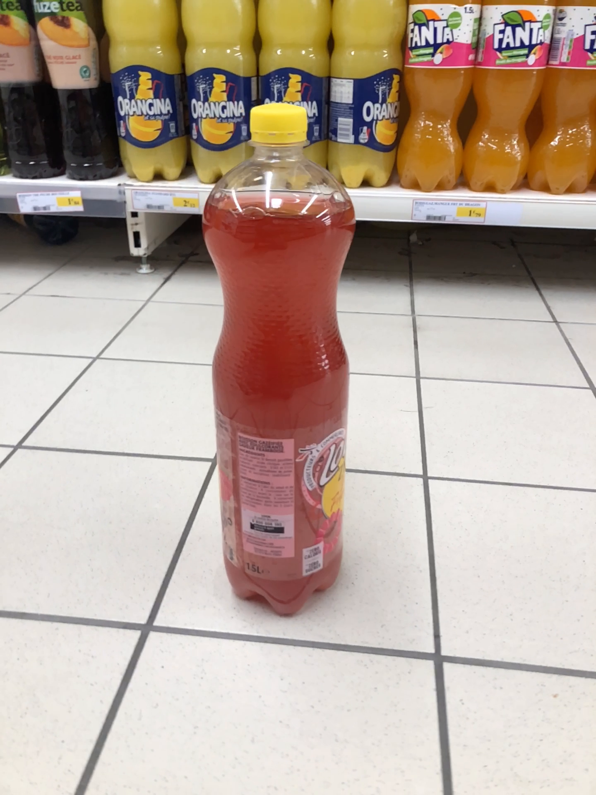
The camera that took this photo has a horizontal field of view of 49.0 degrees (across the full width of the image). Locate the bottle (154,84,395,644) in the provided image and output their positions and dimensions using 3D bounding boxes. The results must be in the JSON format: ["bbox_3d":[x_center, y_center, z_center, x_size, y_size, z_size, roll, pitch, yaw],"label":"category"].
[{"bbox_3d":[-0.009,-0.012,0.412,0.090,0.328,0.101,11,30,20],"label":"bottle"}]
